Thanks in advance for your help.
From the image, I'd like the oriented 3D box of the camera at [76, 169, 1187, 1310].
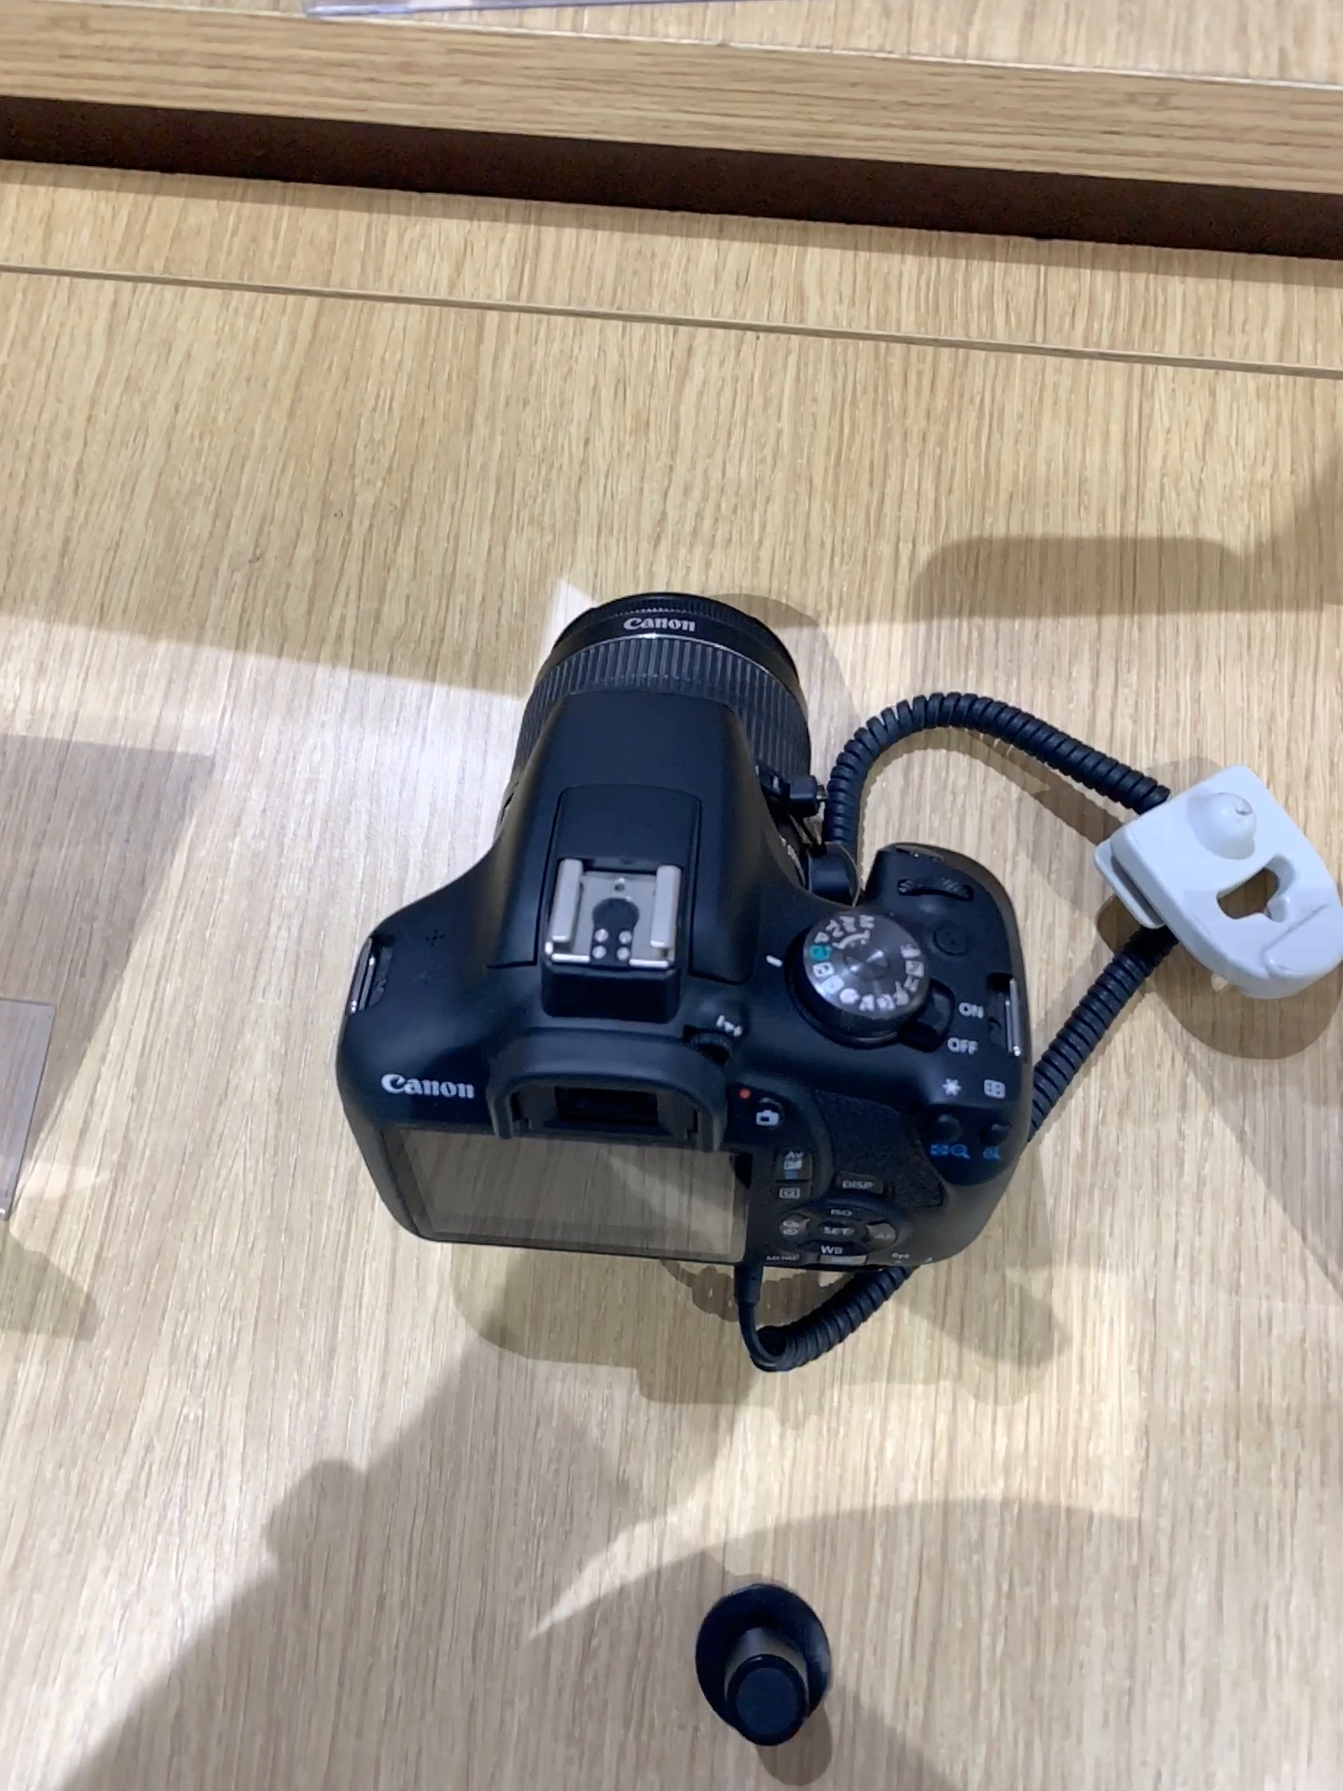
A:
[{"bbox_3d":[0.002,-0.018,0.245,0.140,0.110,0.160,4,76,3],"label":"camera"}]
